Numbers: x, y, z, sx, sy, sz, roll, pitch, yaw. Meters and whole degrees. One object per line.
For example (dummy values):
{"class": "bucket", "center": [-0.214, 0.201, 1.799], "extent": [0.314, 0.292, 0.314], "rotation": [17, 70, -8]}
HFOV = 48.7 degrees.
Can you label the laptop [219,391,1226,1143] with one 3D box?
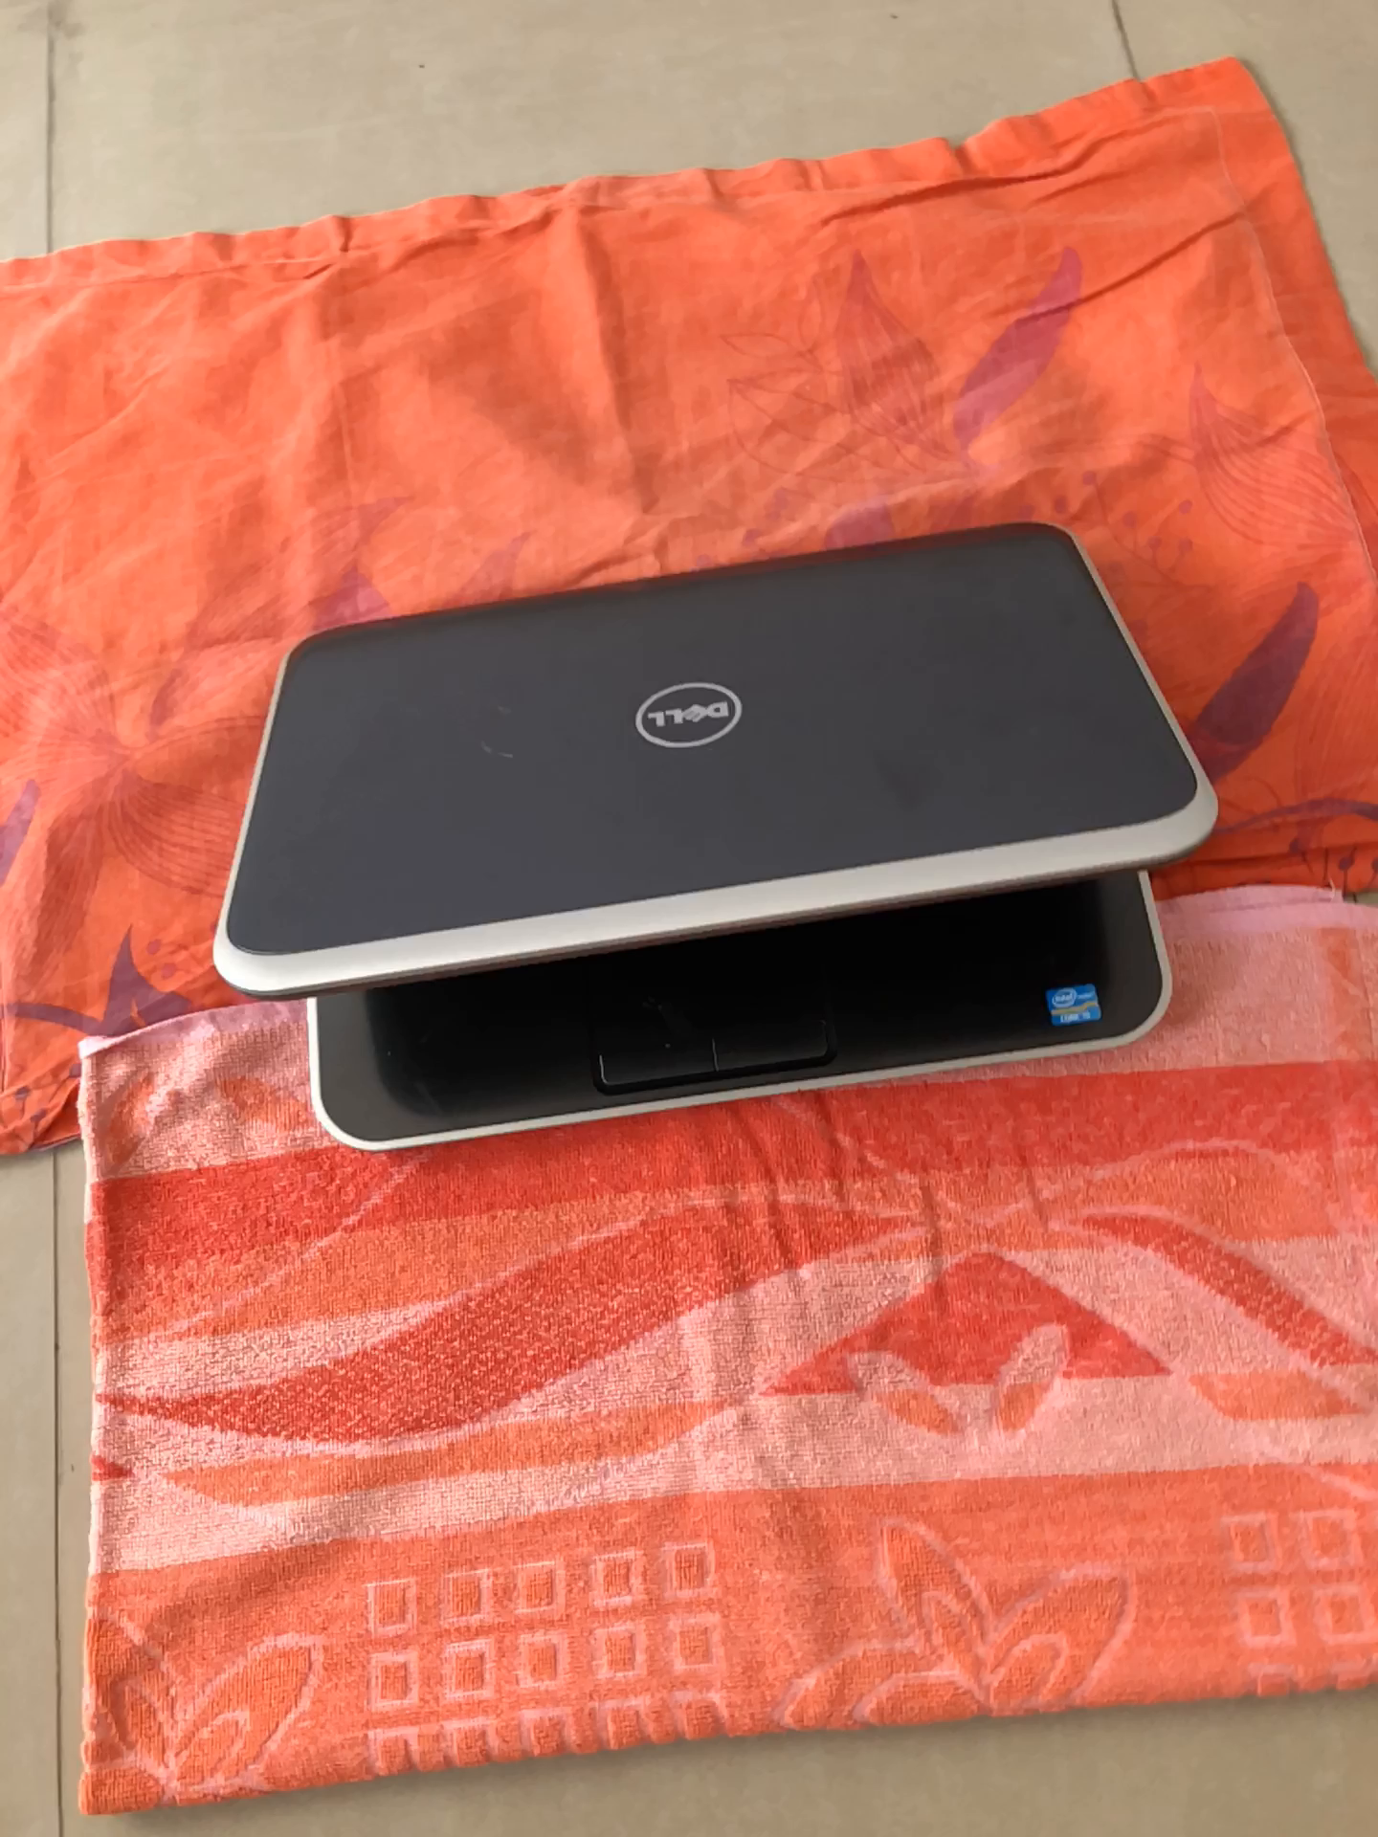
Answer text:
{"class": "laptop", "center": [0.002, -0.056, 0.622], "extent": [0.345, 0.129, 0.241], "rotation": [-7, 70, 1]}
